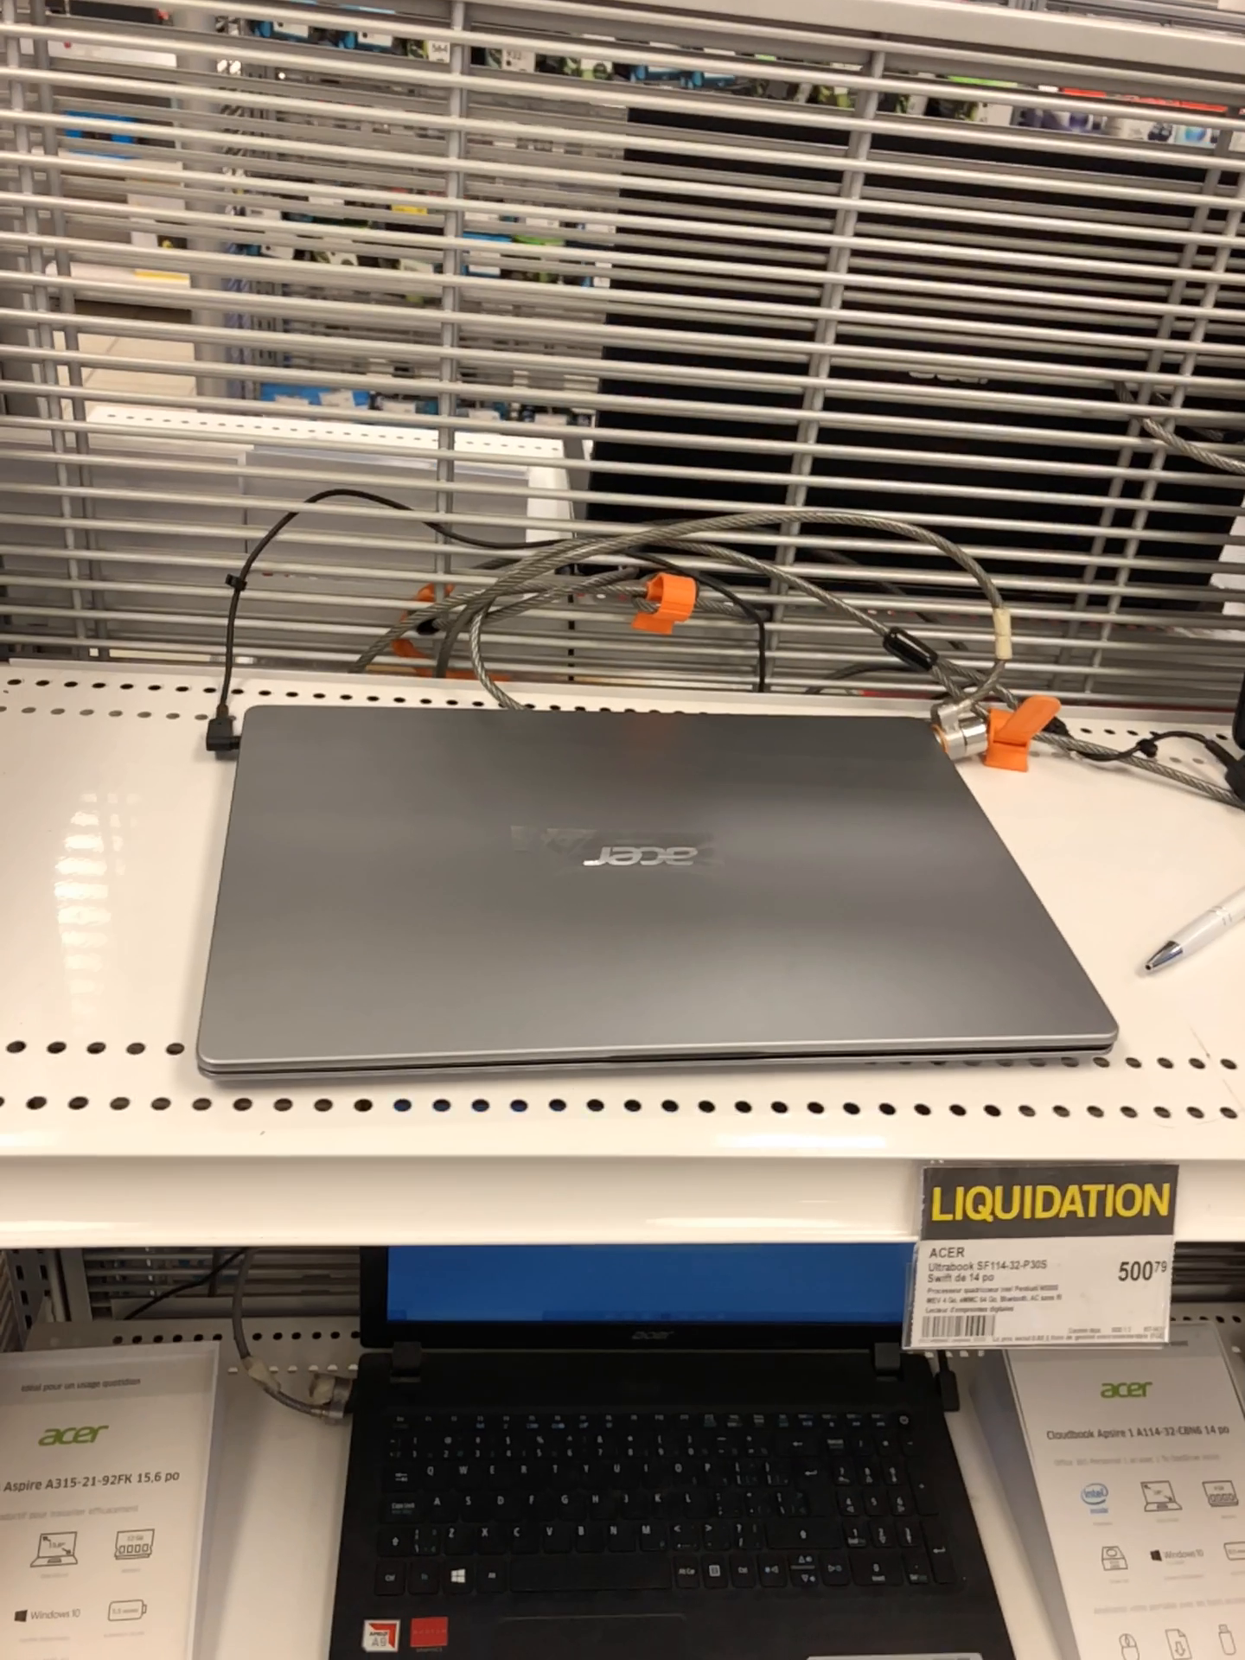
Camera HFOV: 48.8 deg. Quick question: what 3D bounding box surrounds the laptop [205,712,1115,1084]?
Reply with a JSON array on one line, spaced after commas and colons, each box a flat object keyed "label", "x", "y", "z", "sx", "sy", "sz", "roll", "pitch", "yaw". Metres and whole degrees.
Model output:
[{"label": "laptop", "x": 0.006, "y": 0.015, "z": 0.557, "sx": 0.316, "sy": 0.006, "sz": 0.220, "roll": 0, "pitch": 36, "yaw": -10}]
